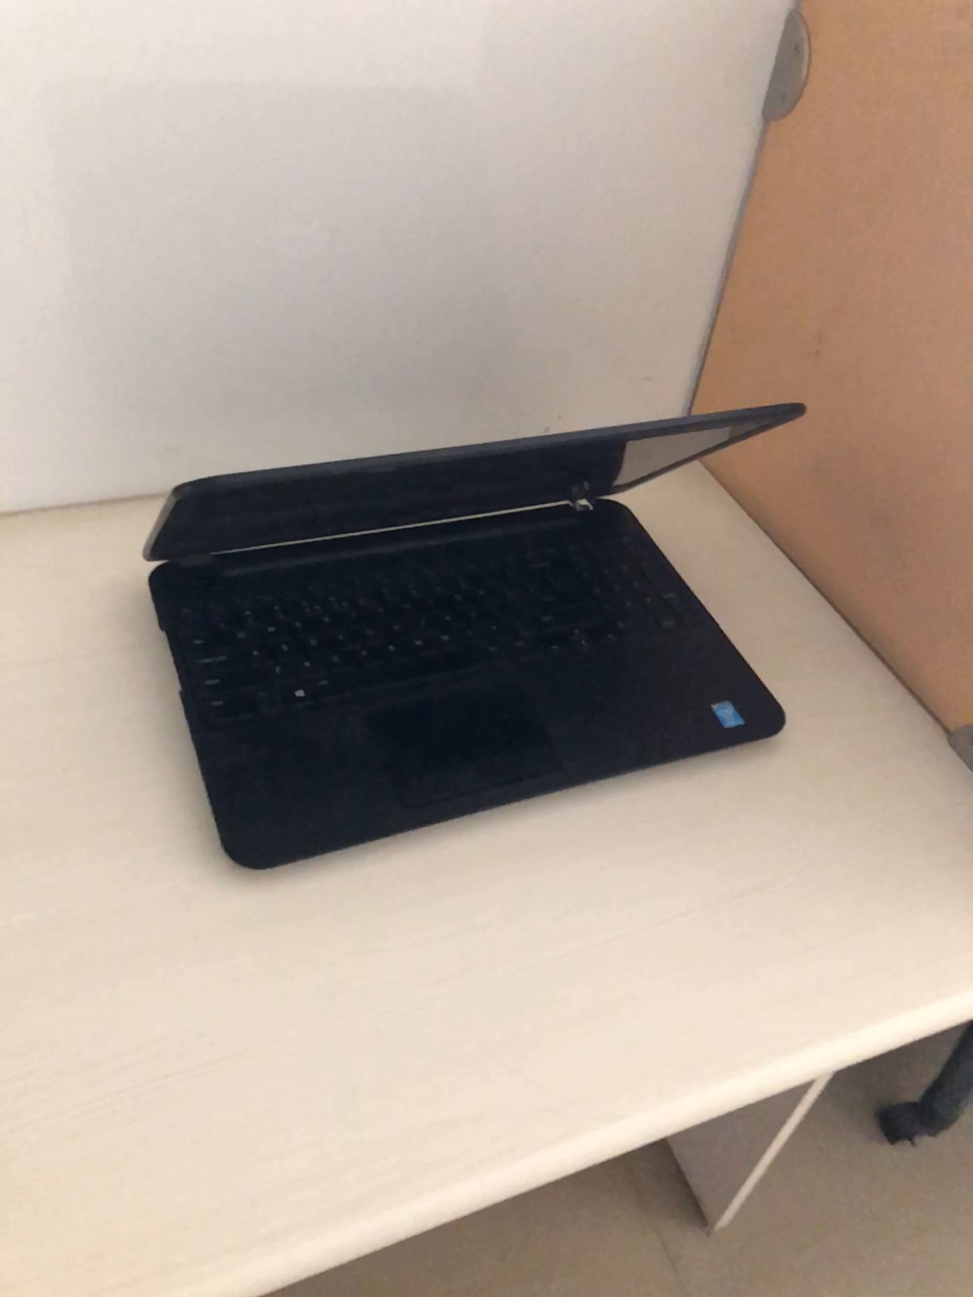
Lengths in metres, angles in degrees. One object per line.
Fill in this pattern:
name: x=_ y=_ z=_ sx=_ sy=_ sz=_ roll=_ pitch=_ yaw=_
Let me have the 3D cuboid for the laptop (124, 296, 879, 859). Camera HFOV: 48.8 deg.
laptop: x=-0.005 y=-0.068 z=0.666 sx=0.365 sy=0.177 sz=0.248 roll=-11 pitch=47 yaw=-23
